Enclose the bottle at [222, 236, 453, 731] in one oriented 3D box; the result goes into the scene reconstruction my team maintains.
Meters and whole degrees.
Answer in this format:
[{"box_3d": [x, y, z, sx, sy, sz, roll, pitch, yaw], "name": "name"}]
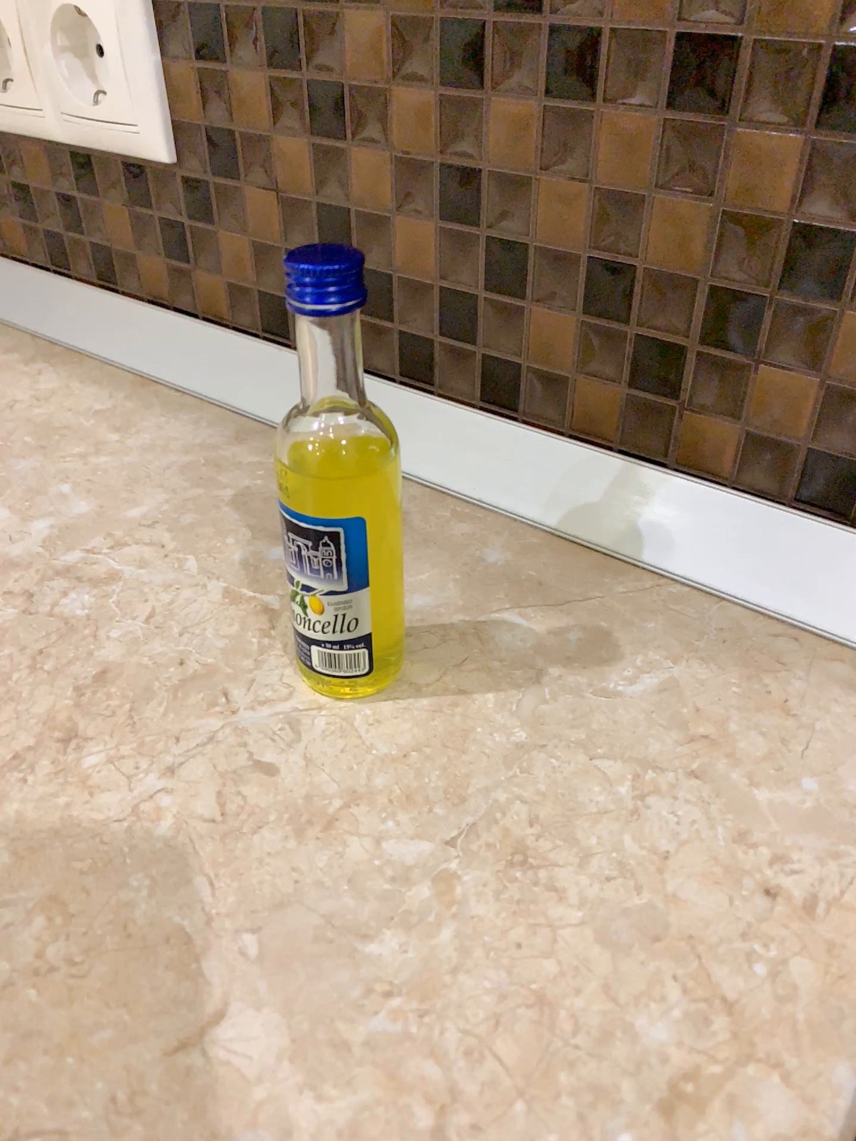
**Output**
[{"box_3d": [-0.019, -0.018, 0.231, 0.039, 0.119, 0.033, 23, 42, 29], "name": "bottle"}]
